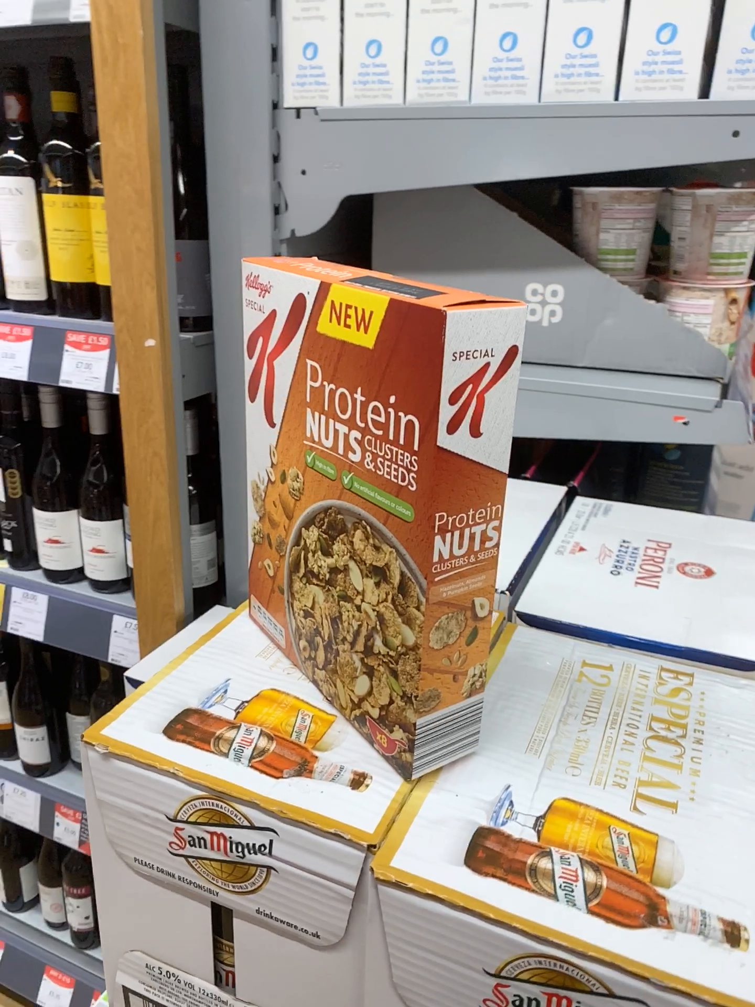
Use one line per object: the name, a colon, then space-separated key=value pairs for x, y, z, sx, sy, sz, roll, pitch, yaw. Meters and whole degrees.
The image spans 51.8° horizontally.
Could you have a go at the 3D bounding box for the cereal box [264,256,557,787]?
cereal box: x=0.001 y=-0.005 z=0.434 sx=0.050 sy=0.238 sz=0.191 roll=-11 pitch=25 yaw=-30
